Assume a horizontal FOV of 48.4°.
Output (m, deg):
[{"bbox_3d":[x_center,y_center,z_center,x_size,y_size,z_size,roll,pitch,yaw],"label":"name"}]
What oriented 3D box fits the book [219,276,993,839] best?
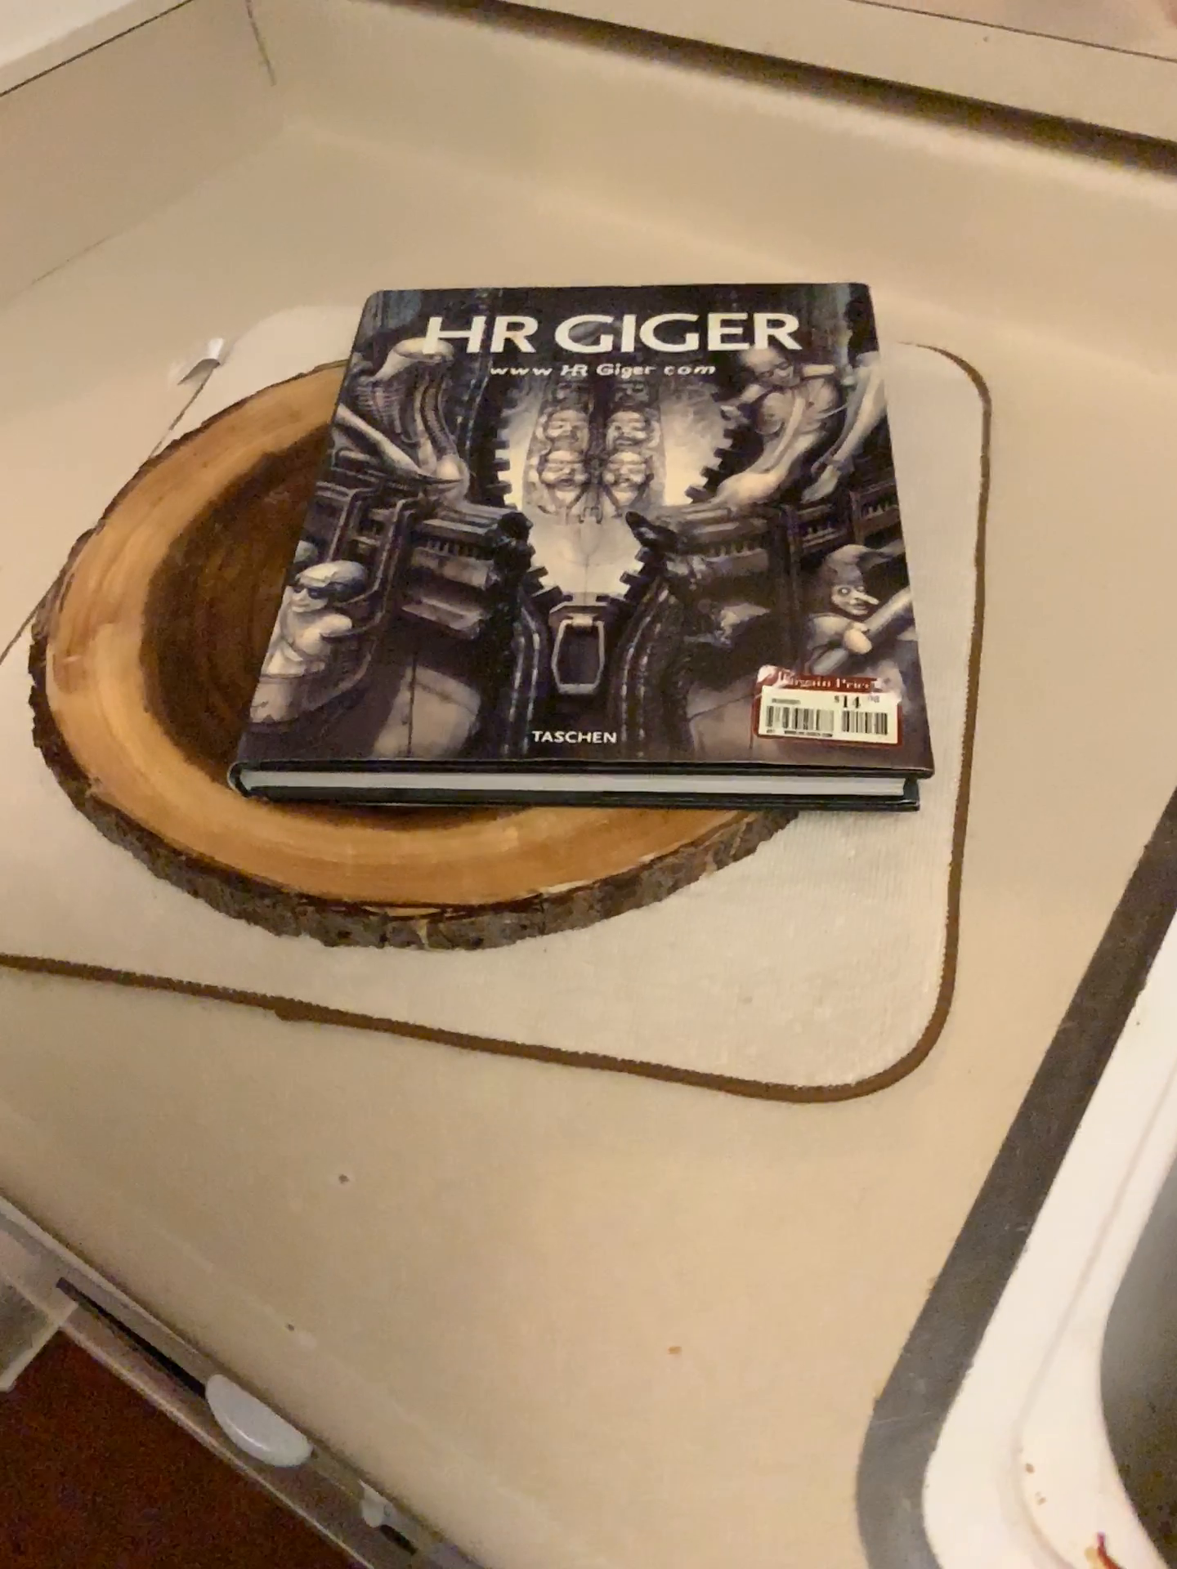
[{"bbox_3d":[0.012,-0.119,0.571,0.270,0.030,0.330,0,51,4],"label":"book"}]
